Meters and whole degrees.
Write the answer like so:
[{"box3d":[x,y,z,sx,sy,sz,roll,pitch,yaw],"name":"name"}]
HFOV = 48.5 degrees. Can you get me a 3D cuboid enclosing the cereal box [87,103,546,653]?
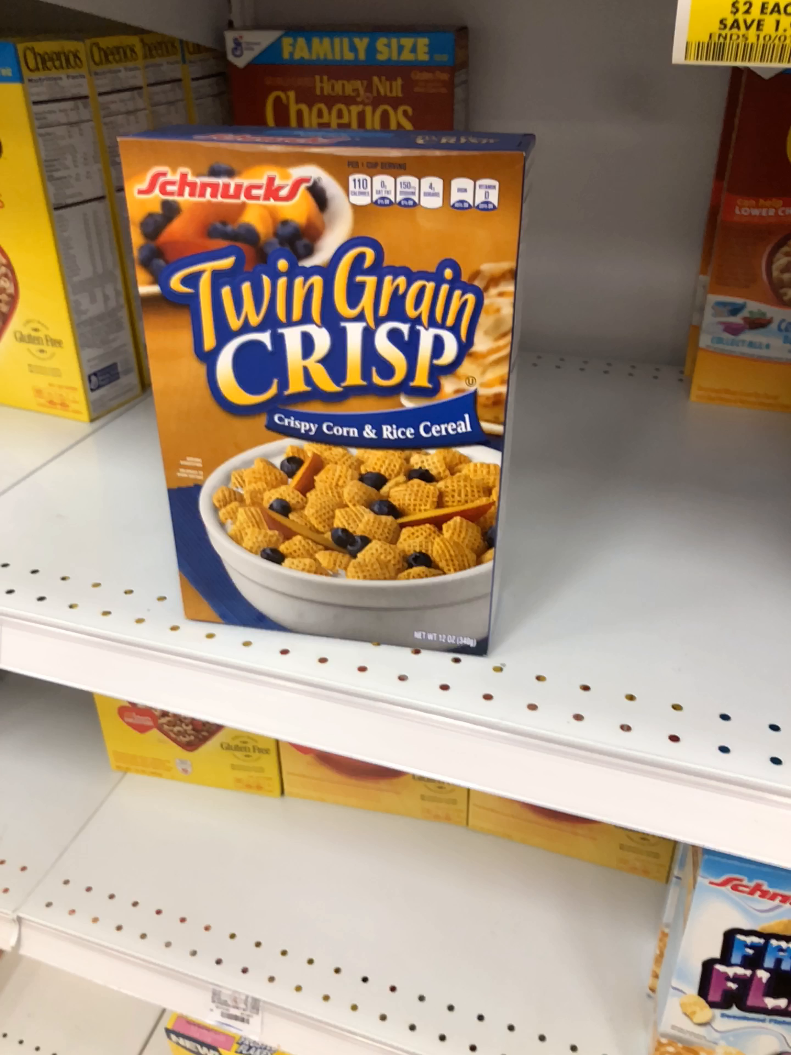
[{"box3d":[-0.035,-0.075,0.499,0.210,0.289,0.070,5,32,9],"name":"cereal box"}]
